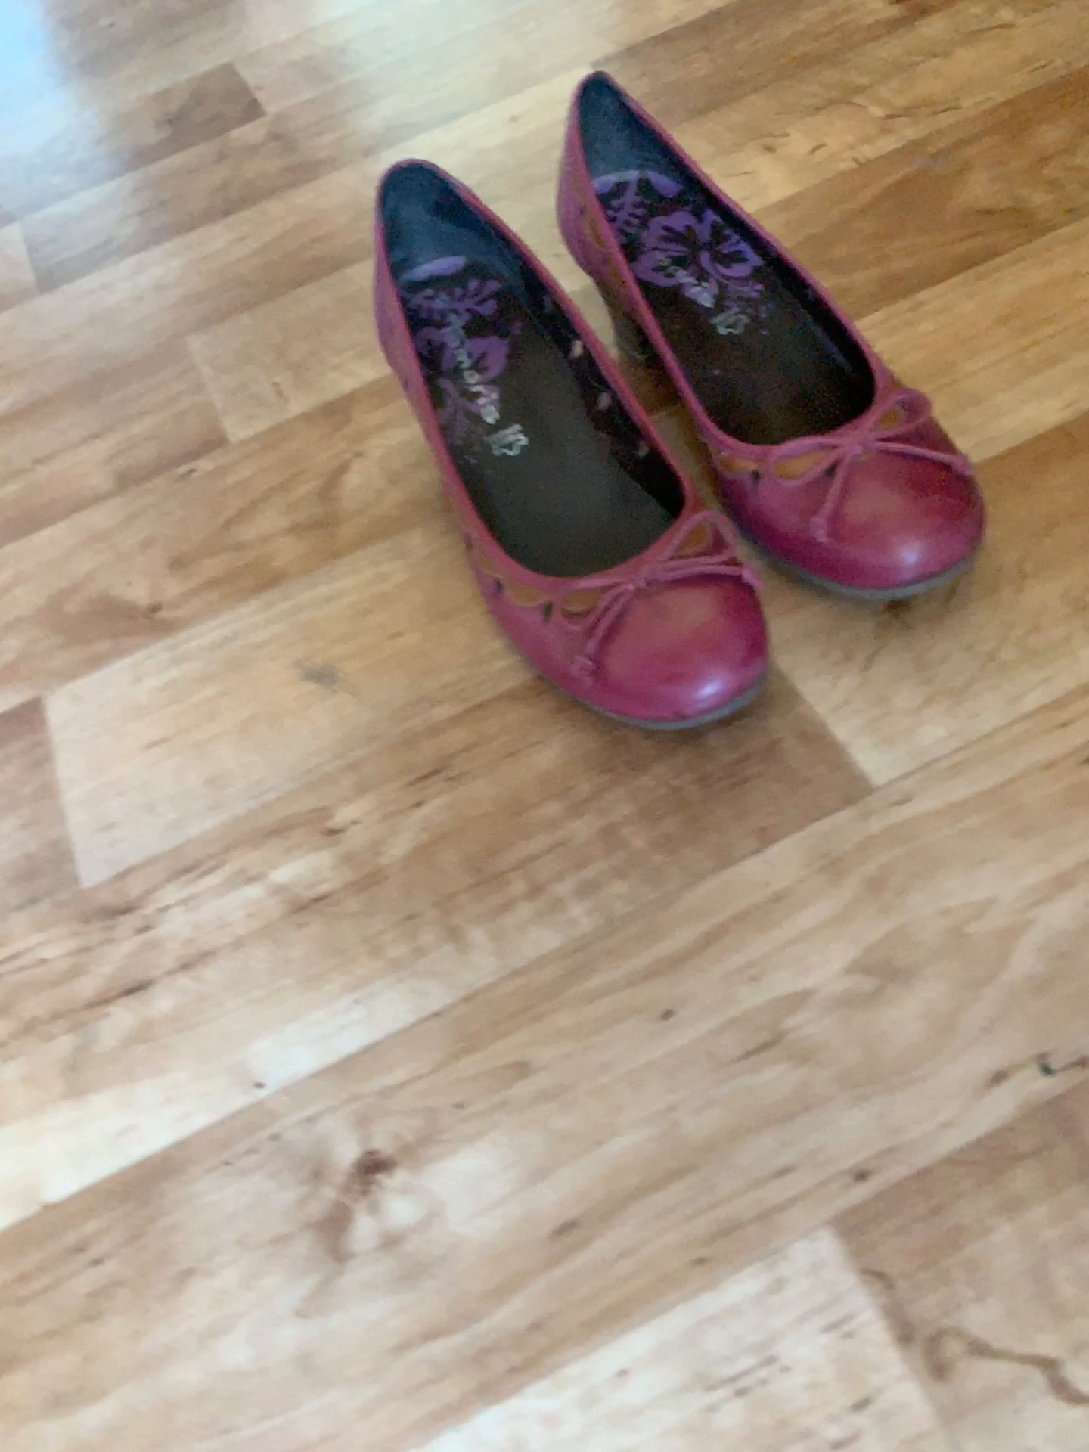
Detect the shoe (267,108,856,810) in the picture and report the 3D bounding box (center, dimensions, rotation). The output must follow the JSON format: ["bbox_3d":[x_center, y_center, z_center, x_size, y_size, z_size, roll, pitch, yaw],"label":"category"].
[{"bbox_3d":[-0.002,-0.106,0.397,0.090,0.110,0.241,-28,53,-7],"label":"shoe"}]

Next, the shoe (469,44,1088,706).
[{"bbox_3d":[0.077,-0.139,0.409,0.090,0.110,0.241,-30,54,-9],"label":"shoe"}]
